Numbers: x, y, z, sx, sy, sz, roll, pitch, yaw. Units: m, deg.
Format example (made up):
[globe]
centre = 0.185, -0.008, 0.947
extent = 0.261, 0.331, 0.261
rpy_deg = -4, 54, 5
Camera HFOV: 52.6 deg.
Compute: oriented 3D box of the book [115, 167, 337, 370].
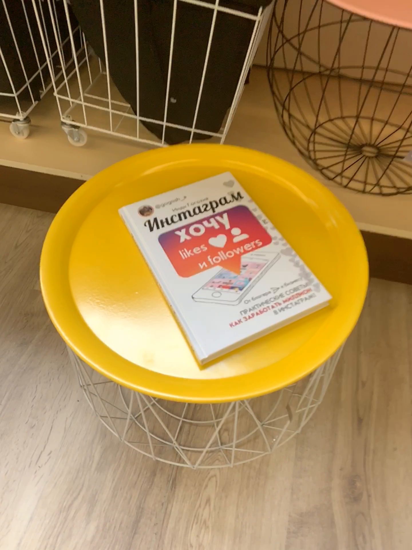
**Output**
[book]
centre = 0.013, -0.027, 0.504
extent = 0.170, 0.020, 0.241
rpy_deg = -22, 58, -16
